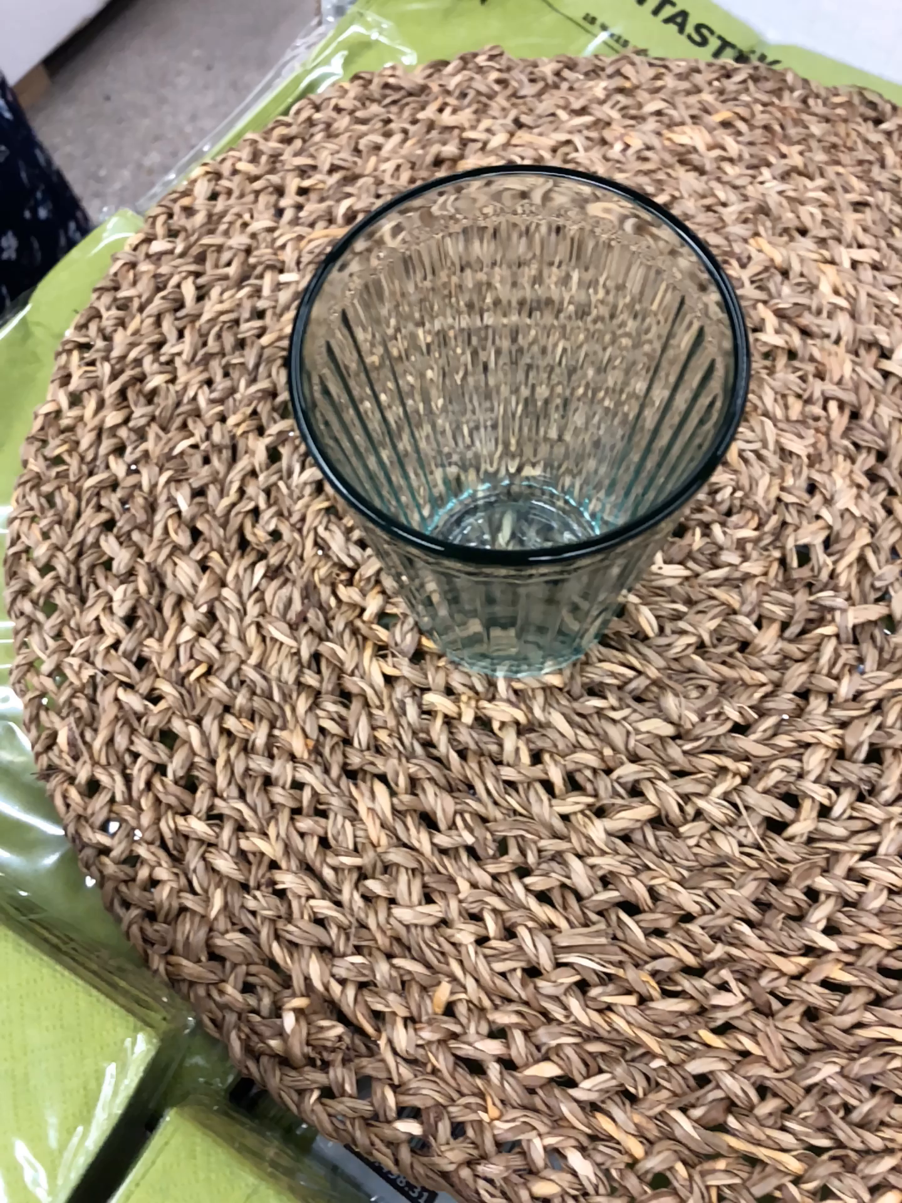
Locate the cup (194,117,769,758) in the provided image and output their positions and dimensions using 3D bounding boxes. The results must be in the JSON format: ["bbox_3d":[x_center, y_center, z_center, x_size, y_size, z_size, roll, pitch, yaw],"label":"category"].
[{"bbox_3d":[0.009,-0.026,0.212,0.080,0.100,0.080,0,67,1],"label":"cup"}]
